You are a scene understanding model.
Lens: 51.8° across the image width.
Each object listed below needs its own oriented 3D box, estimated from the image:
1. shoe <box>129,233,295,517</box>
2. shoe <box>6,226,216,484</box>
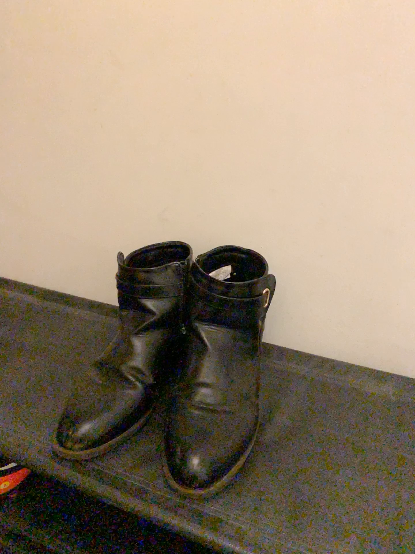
[{"bbox_3d":[0.021,0.078,0.459,0.100,0.169,0.242,9,26,15],"label":"shoe"},{"bbox_3d":[-0.083,0.064,0.472,0.100,0.169,0.222,12,27,22],"label":"shoe"}]
